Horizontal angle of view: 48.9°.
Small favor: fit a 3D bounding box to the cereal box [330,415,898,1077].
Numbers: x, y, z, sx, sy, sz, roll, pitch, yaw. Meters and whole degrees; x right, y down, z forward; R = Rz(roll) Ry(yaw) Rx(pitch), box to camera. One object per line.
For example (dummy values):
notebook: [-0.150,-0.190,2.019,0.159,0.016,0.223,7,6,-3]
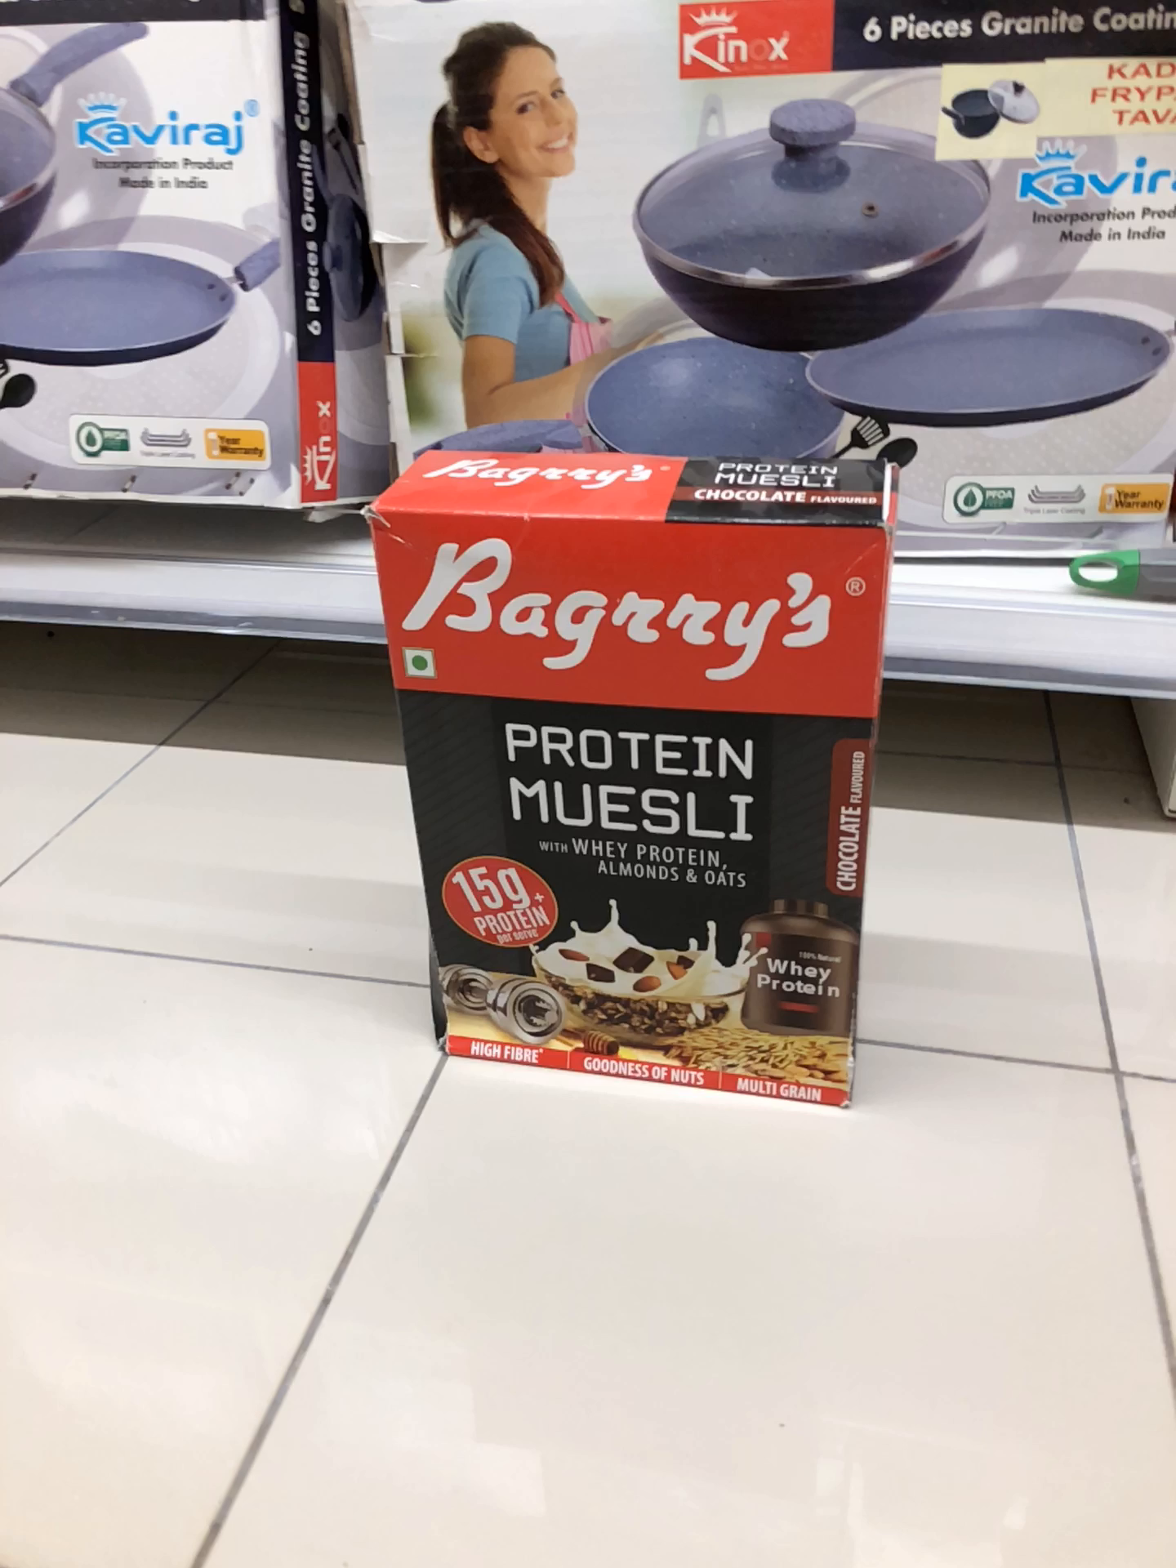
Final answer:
cereal box: [0.016,-0.015,0.517,0.190,0.239,0.081,5,28,12]
